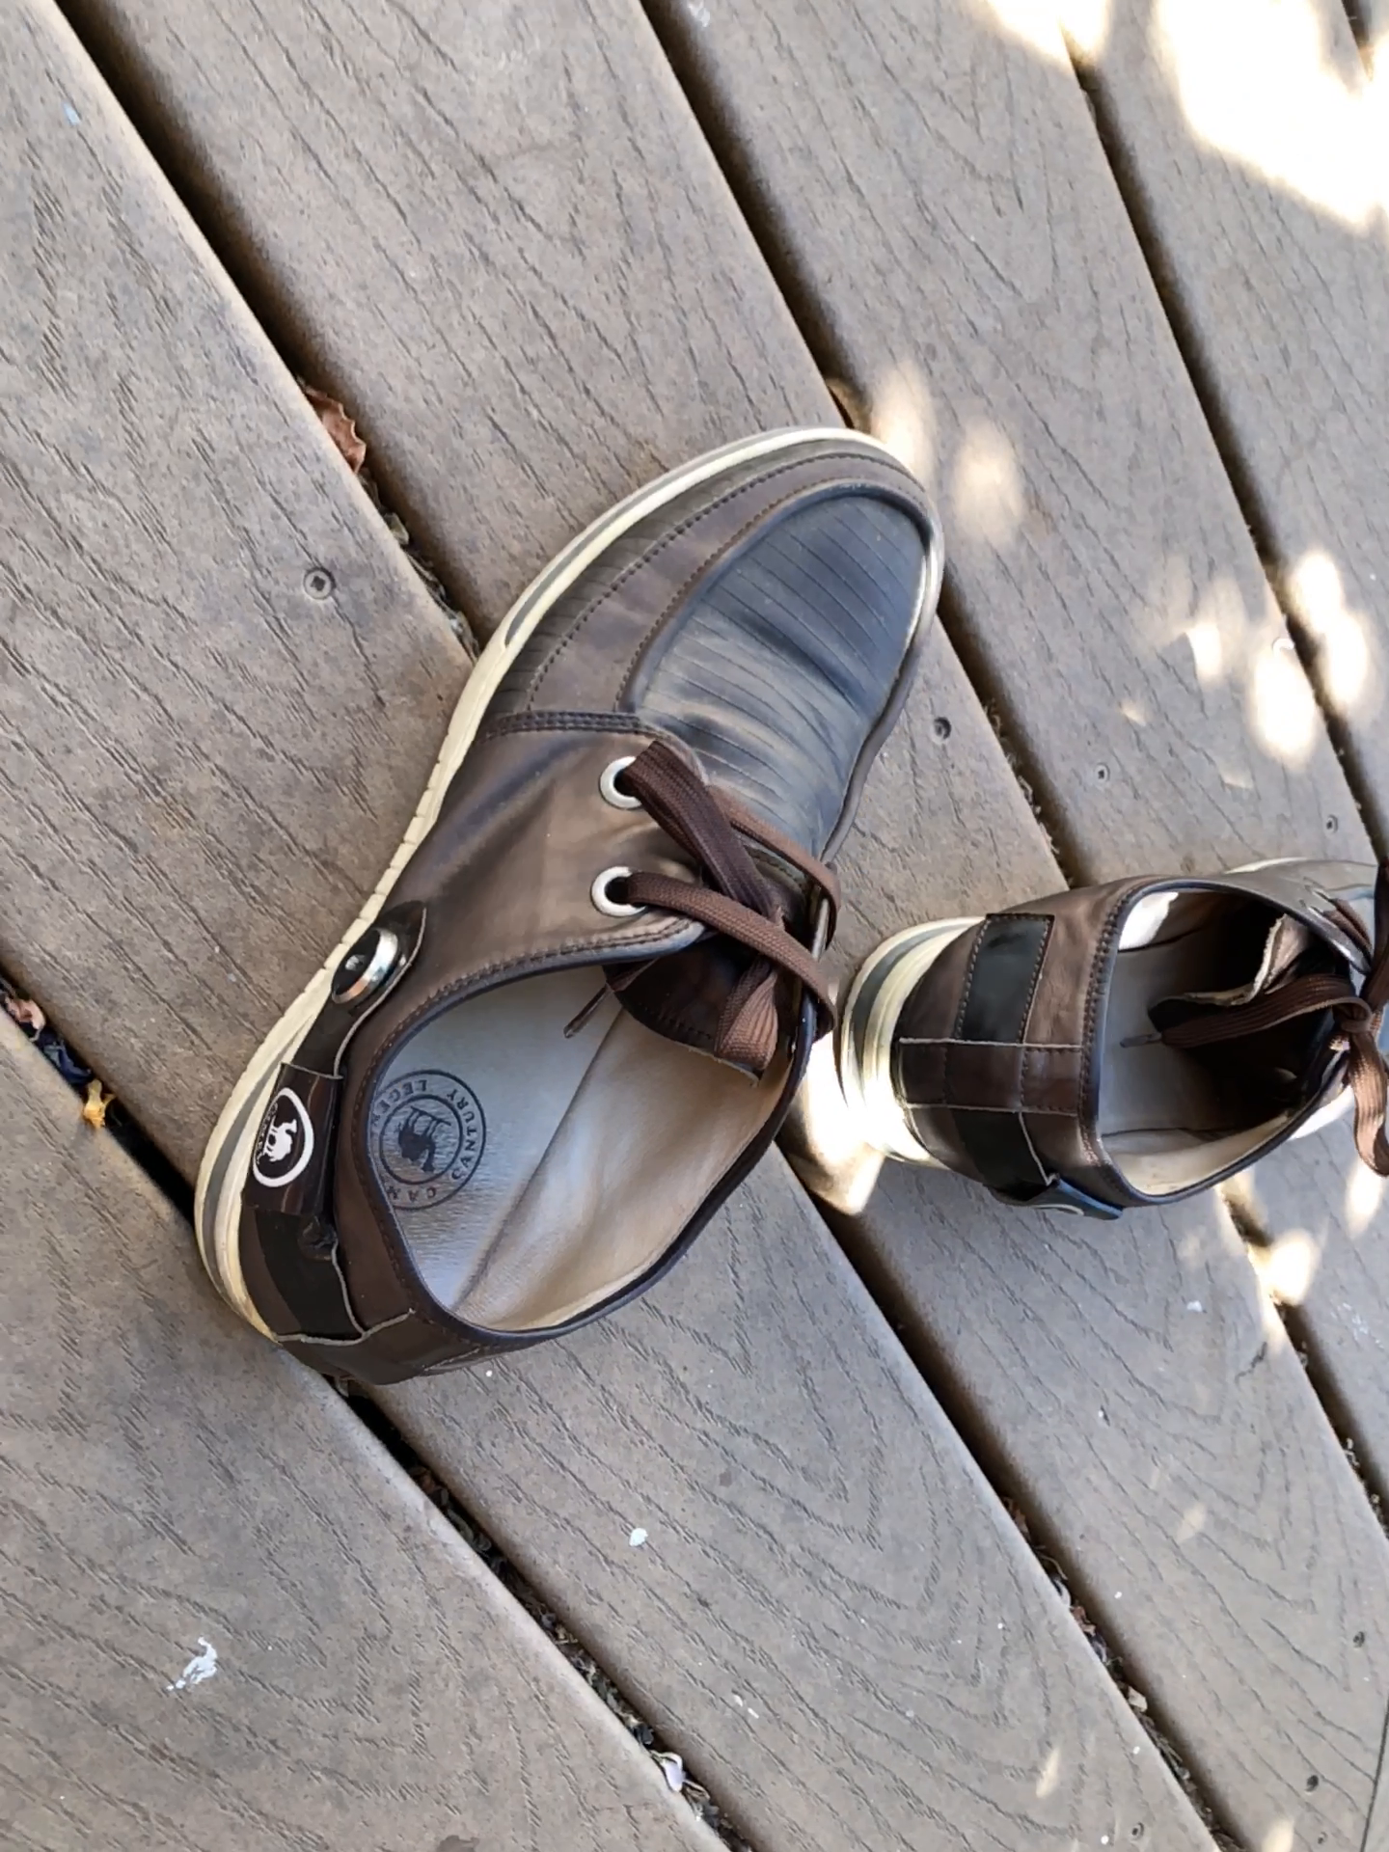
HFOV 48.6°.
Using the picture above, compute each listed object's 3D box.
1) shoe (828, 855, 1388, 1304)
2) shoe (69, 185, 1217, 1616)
[{"bbox_3d":[0.204,0.034,0.523,0.305,0.116,0.110,-2,96,-32],"label":"shoe"},{"bbox_3d":[-0.008,-0.014,0.384,0.111,0.116,0.302,38,75,-29],"label":"shoe"}]
